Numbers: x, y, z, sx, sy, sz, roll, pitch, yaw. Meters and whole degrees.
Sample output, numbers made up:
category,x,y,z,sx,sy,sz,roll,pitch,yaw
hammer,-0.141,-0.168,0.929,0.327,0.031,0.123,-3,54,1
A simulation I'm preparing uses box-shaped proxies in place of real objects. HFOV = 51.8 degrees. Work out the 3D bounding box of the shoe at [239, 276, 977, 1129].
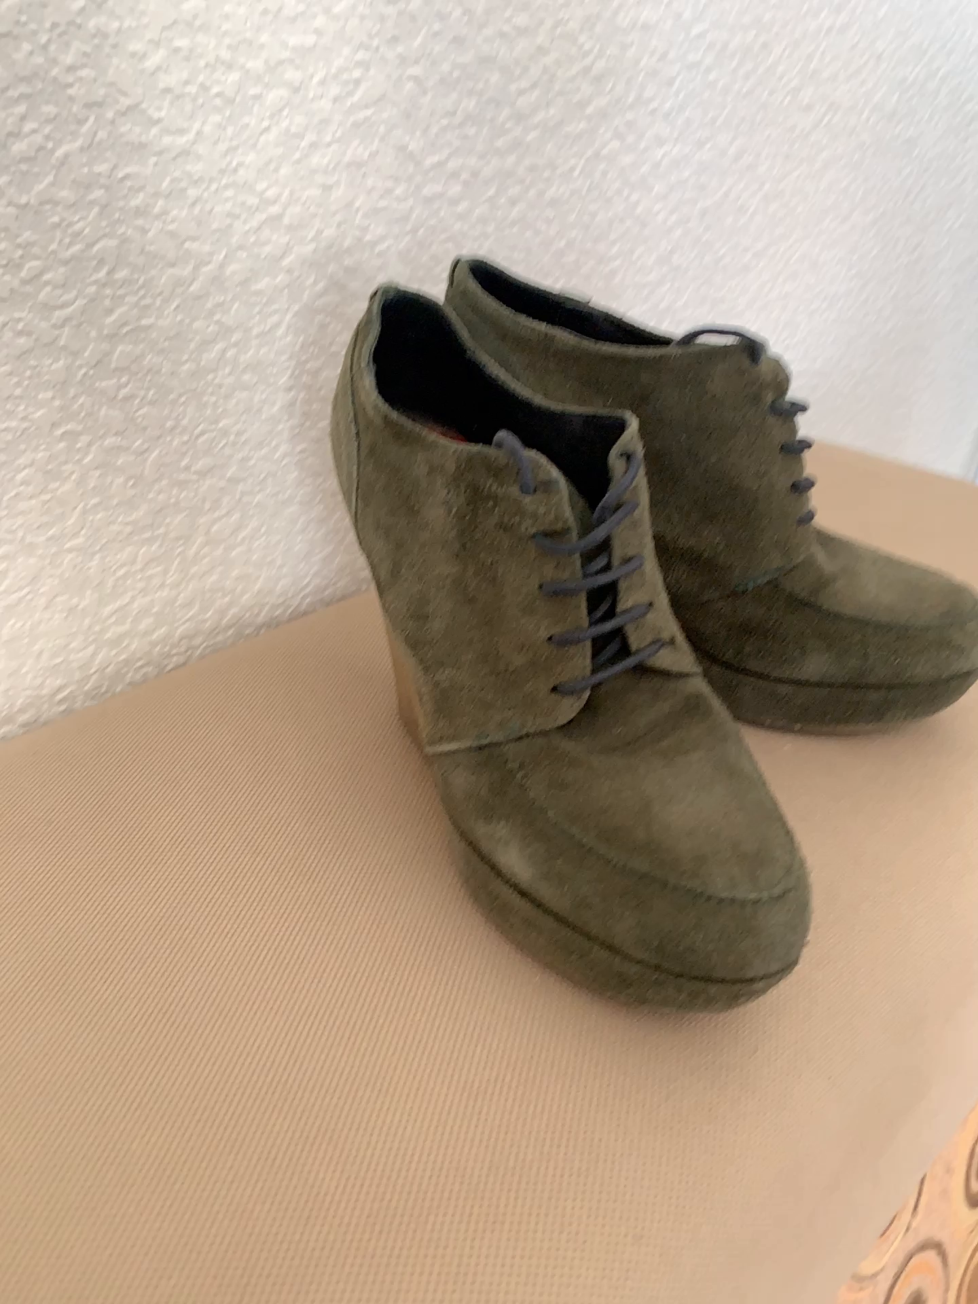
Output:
category,x,y,z,sx,sy,sz,roll,pitch,yaw
shoe,0.008,-0.010,0.306,0.086,0.136,0.230,-16,39,-24

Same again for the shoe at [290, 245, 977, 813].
category,x,y,z,sx,sy,sz,roll,pitch,yaw
shoe,0.062,-0.059,0.396,0.270,0.139,0.081,18,38,21
